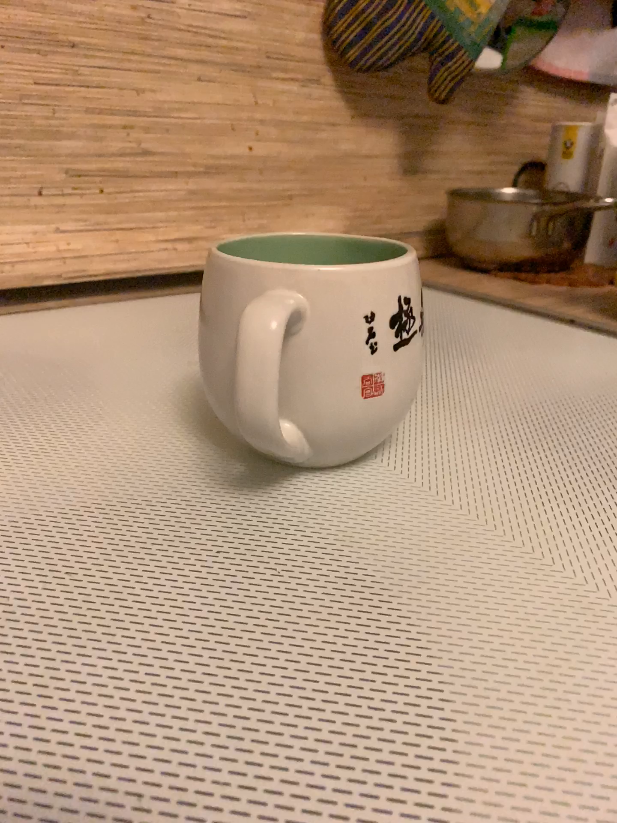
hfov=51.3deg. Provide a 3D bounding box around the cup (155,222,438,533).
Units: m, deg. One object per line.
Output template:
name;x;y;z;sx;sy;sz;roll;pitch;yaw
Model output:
cup;0.002;-0.025;0.271;0.088;0.091;0.124;4;22;6
